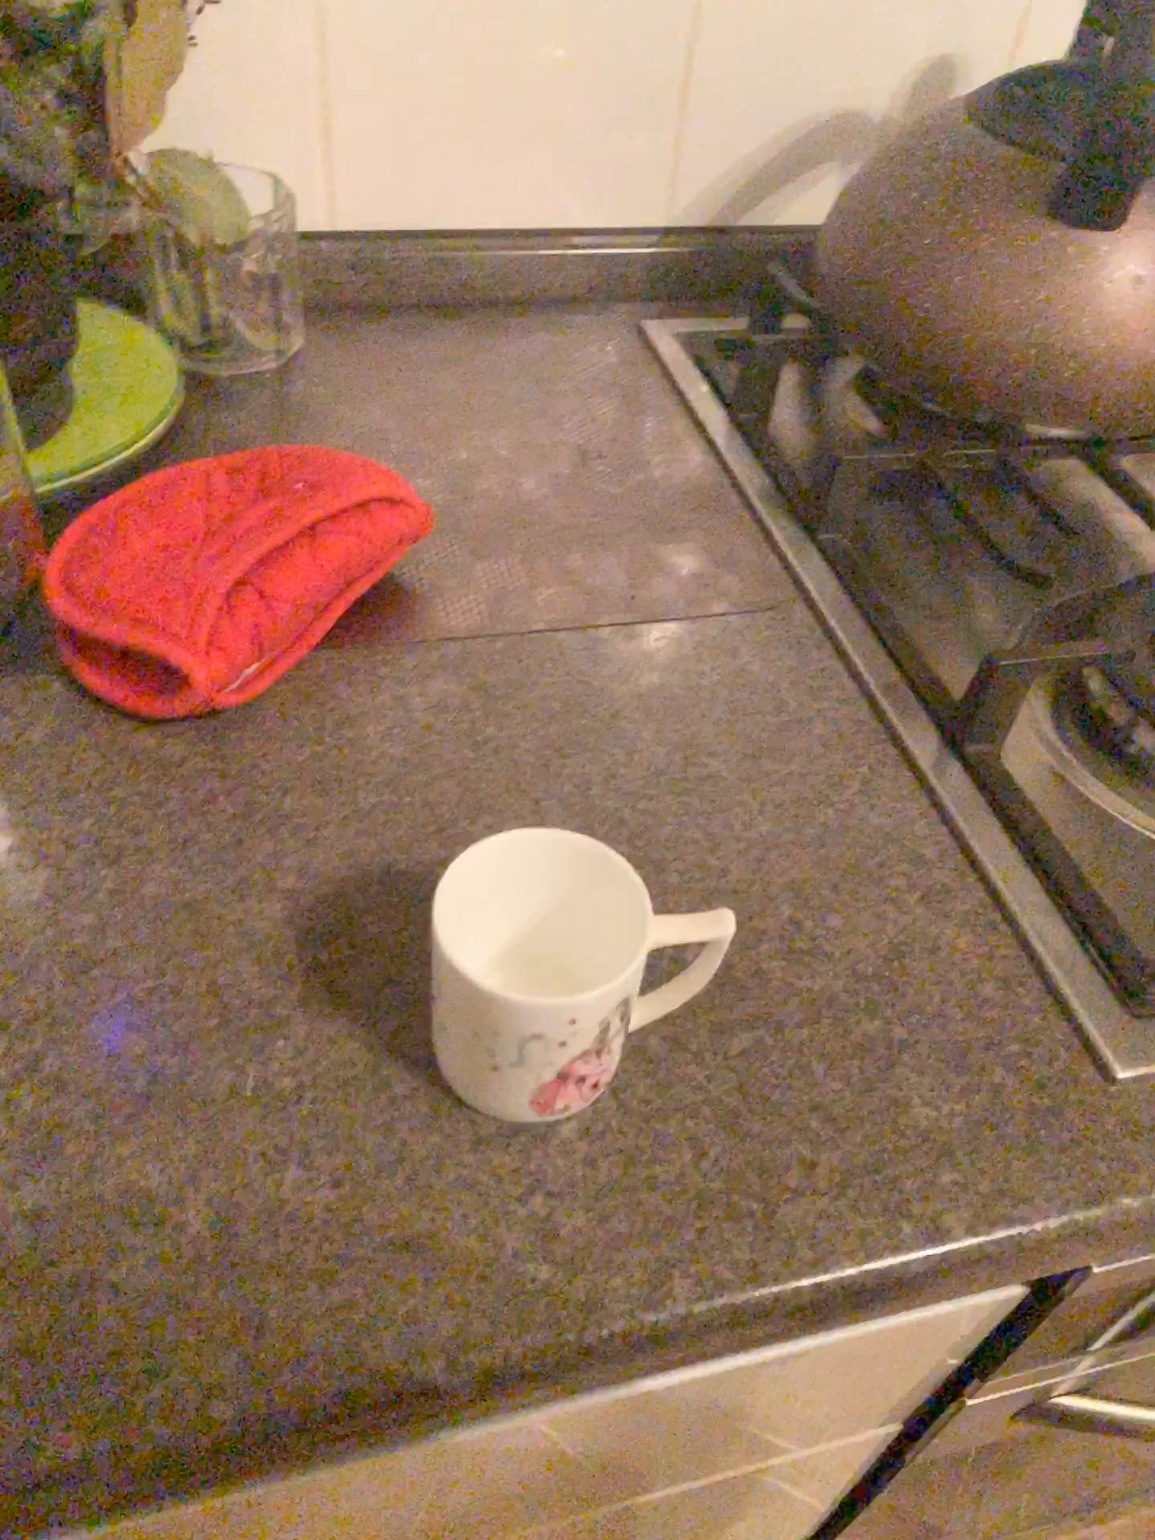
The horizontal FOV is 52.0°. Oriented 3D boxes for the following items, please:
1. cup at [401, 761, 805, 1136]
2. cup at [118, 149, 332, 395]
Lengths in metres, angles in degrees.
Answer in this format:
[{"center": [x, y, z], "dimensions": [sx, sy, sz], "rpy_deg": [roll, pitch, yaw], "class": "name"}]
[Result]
[{"center": [0.002, 0.046, 0.318], "dimensions": [0.089, 0.061, 0.065], "rpy_deg": [-6, 46, -12], "class": "cup"}, {"center": [-0.174, -0.250, 0.595], "dimensions": [0.079, 0.091, 0.054], "rpy_deg": [-20, 50, -25], "class": "cup"}]
